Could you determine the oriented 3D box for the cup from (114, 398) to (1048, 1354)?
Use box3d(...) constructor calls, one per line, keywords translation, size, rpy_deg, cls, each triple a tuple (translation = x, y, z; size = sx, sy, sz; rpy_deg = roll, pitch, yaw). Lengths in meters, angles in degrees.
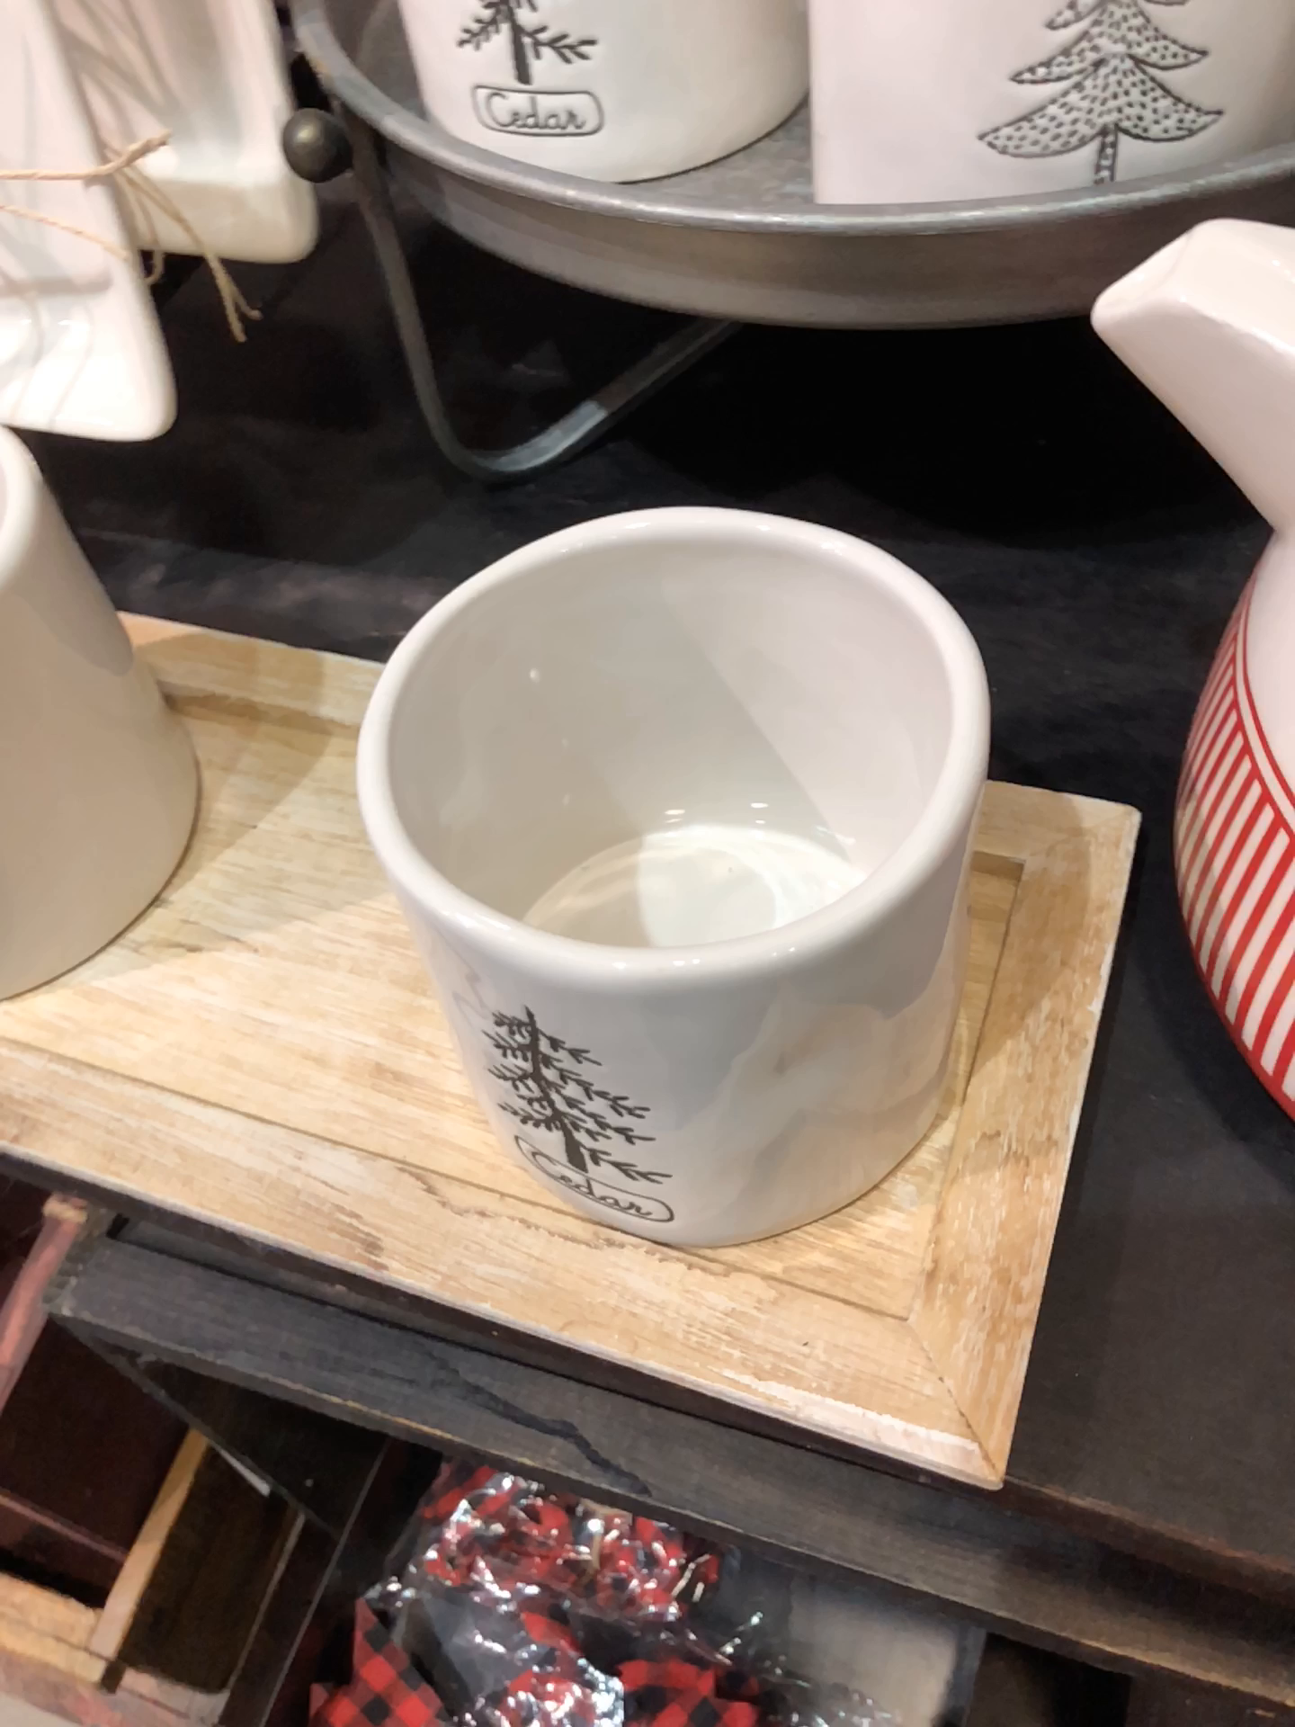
box3d(translation=(-0.002, 0.002, 0.235), size=(0.097, 0.100, 0.087), rpy_deg=(22, 60, 23), cls="cup")
